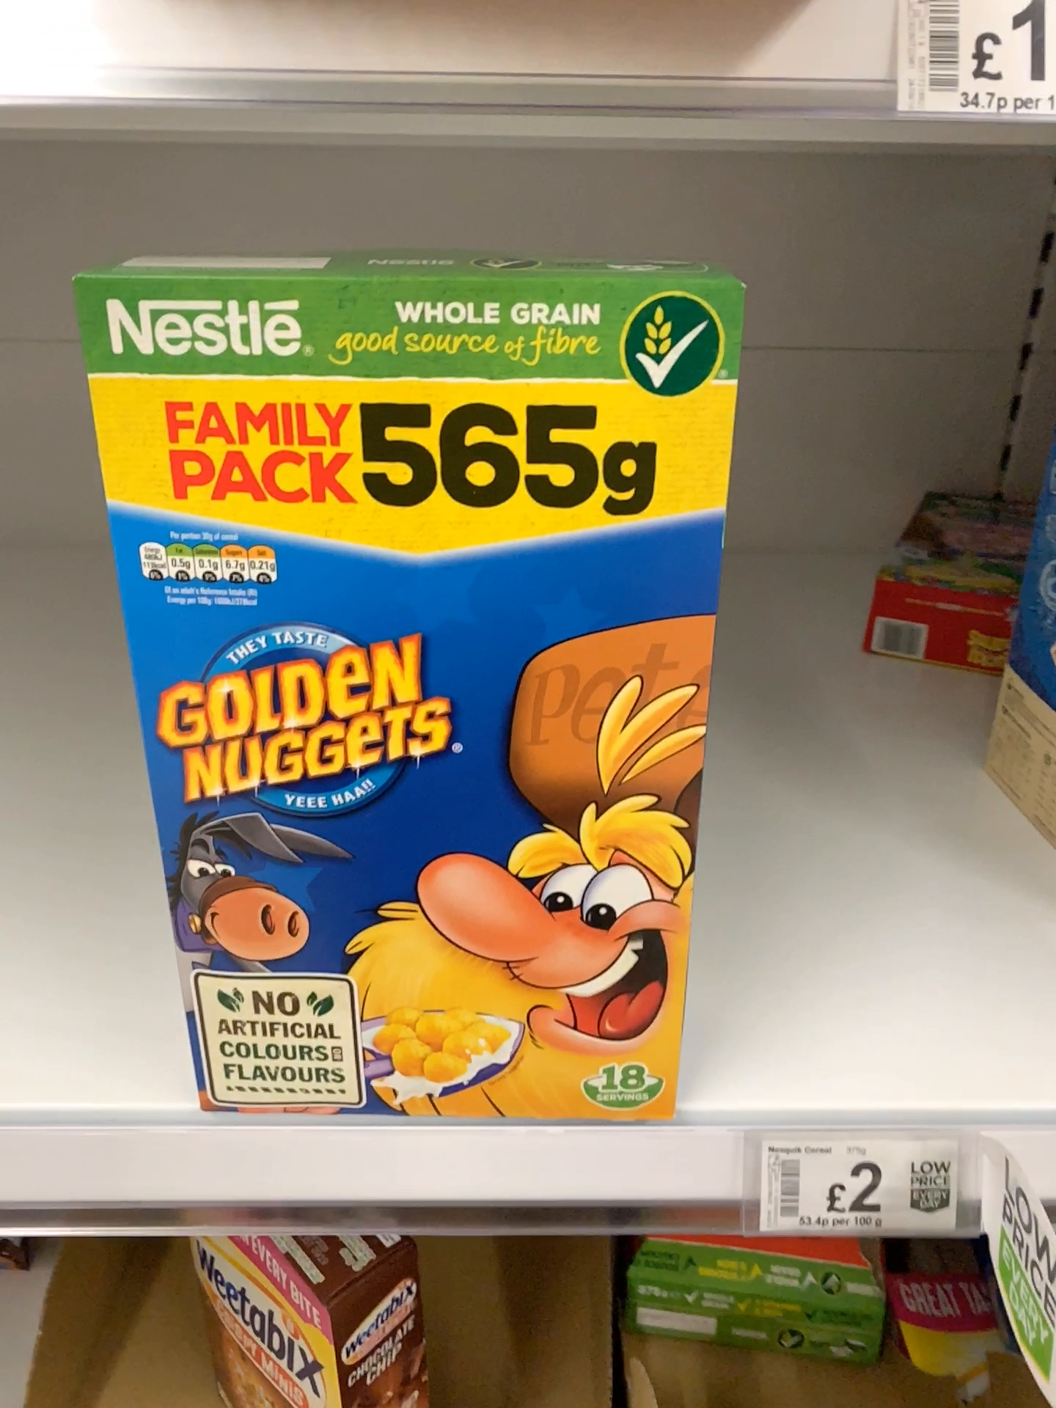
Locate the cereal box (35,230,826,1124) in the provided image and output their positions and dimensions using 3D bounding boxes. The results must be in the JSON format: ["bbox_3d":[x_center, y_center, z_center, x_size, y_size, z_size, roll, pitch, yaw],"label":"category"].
[{"bbox_3d":[-0.028,0.000,0.394,0.210,0.307,0.091,1,25,1],"label":"cereal box"}]
